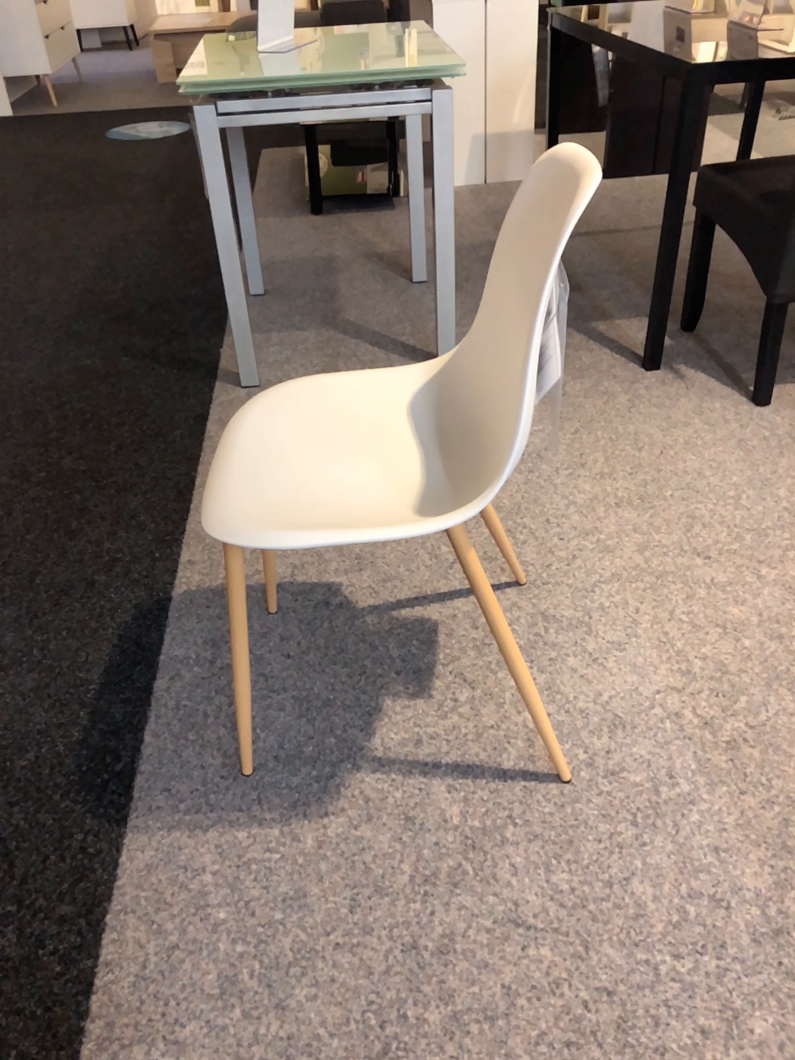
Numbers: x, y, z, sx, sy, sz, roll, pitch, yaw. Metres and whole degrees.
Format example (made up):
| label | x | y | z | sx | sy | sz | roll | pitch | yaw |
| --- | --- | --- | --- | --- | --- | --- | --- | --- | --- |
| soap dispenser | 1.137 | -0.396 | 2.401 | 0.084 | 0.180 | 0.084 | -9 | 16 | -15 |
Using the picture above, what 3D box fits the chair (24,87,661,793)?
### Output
| label | x | y | z | sx | sy | sz | roll | pitch | yaw |
| --- | --- | --- | --- | --- | --- | --- | --- | --- | --- |
| chair | -0.035 | -0.127 | 1.295 | 0.600 | 0.845 | 0.573 | -3 | 36 | 1 |
